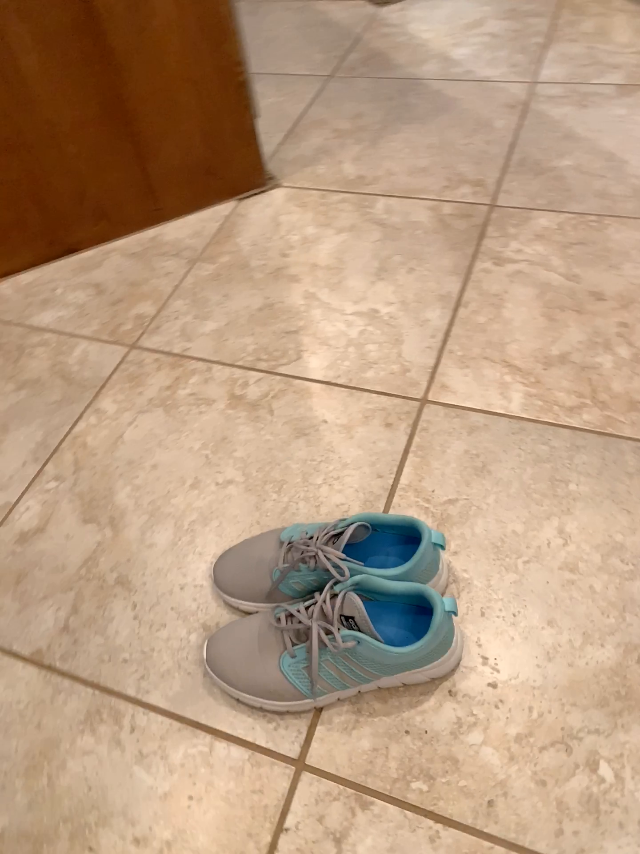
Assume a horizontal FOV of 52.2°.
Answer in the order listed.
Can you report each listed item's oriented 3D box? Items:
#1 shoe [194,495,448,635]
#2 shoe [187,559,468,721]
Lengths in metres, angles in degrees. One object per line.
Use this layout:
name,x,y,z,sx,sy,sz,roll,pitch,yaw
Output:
shoe,0.009,0.158,0.761,0.271,0.108,0.107,1,51,10
shoe,0.009,0.229,0.698,0.271,0.108,0.107,-7,50,4
